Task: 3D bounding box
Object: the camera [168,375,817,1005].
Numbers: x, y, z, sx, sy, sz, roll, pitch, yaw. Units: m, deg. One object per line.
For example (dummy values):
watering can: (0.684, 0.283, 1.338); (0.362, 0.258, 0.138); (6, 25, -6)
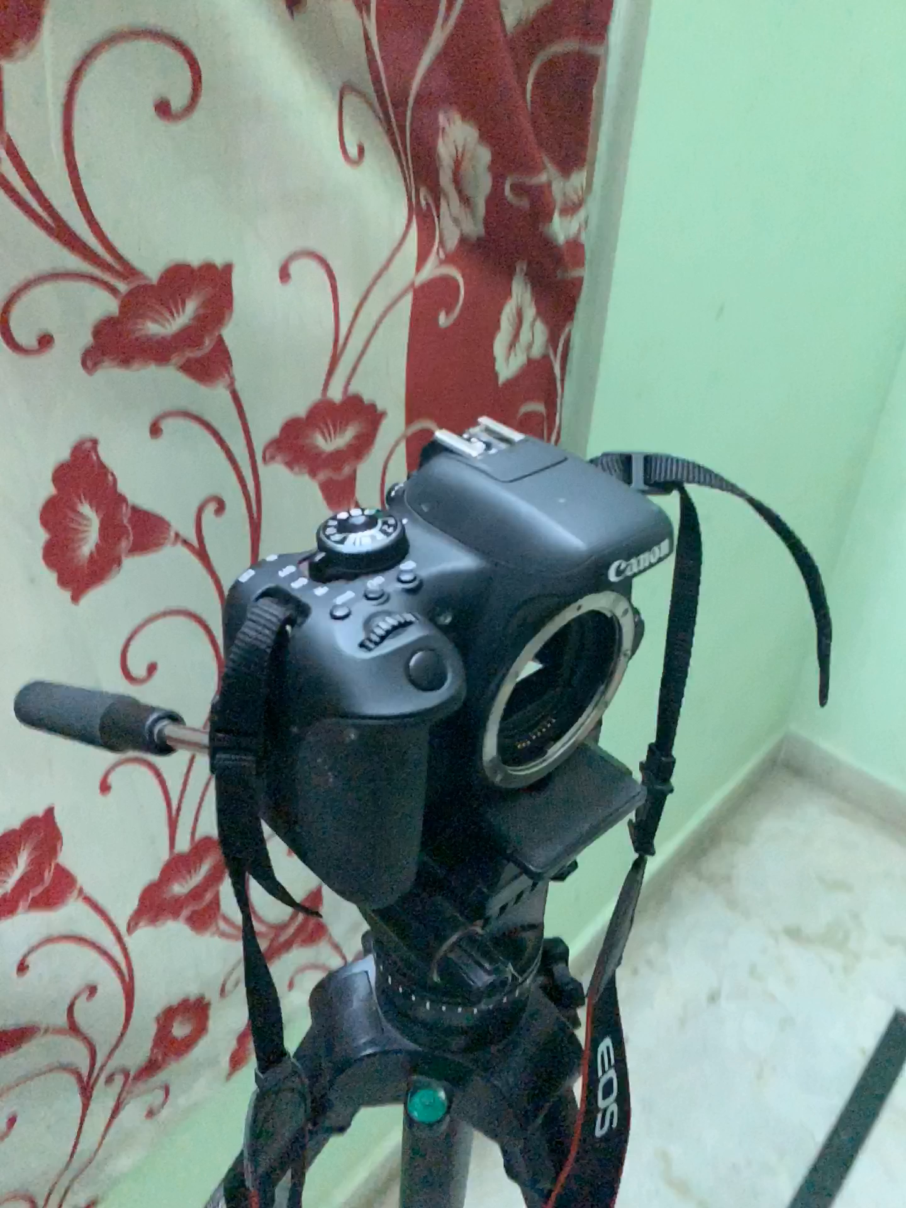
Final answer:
camera: (0.014, 0.009, 0.253); (0.085, 0.088, 0.142); (31, 43, 34)
